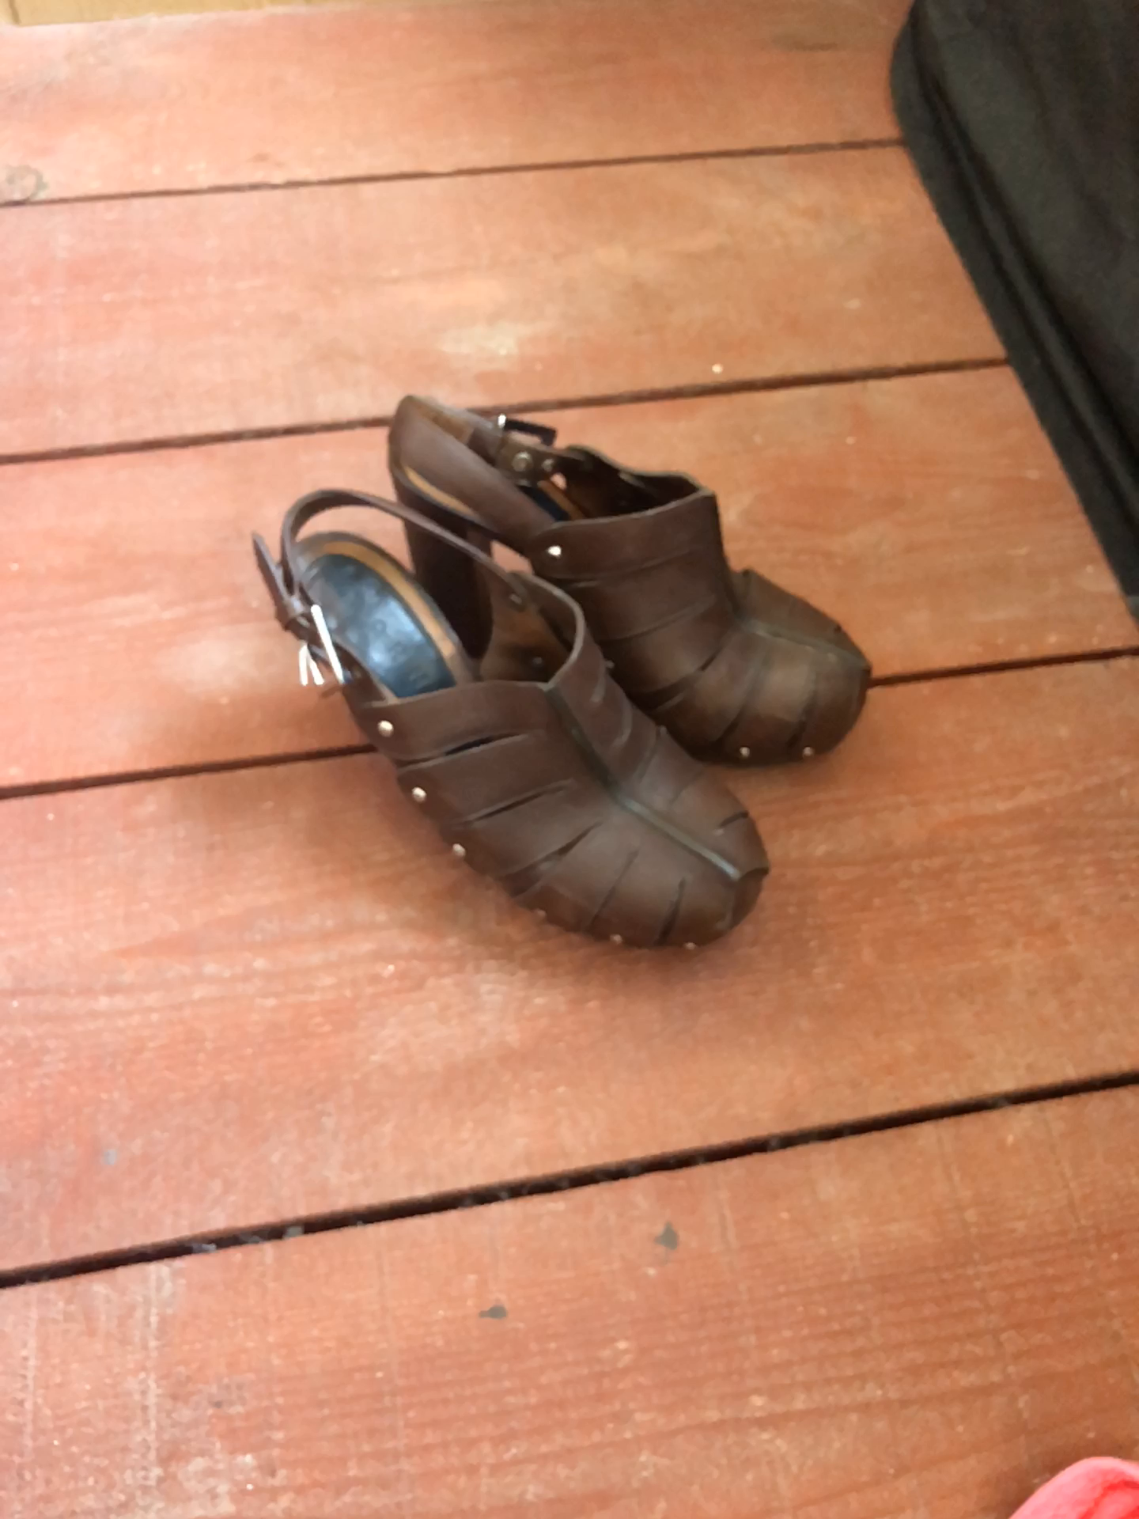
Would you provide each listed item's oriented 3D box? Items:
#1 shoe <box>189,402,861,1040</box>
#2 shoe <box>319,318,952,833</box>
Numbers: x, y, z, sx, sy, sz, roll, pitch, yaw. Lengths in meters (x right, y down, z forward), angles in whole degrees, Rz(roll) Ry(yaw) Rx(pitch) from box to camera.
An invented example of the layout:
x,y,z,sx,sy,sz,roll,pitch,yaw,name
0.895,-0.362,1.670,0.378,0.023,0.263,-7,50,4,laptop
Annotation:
x,y,z,sx,sy,sz,roll,pitch,yaw,name
-0.020,-0.012,0.457,0.210,0.120,0.080,35,65,16,shoe
0.020,-0.069,0.486,0.210,0.110,0.080,19,48,4,shoe
